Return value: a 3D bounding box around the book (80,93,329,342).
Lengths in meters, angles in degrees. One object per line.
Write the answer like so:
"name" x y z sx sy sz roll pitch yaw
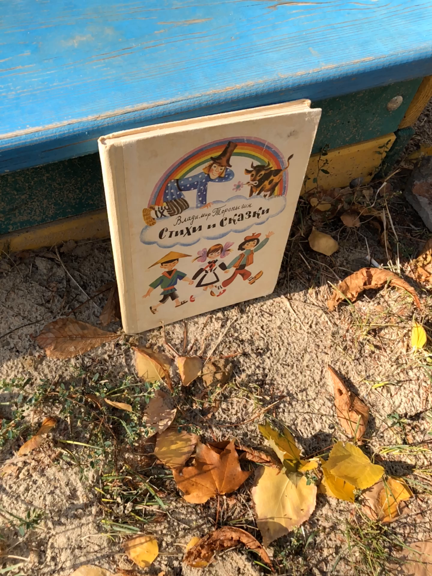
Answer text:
"book" -0.008 -0.049 0.415 0.178 0.213 0.024 -15 51 -16
